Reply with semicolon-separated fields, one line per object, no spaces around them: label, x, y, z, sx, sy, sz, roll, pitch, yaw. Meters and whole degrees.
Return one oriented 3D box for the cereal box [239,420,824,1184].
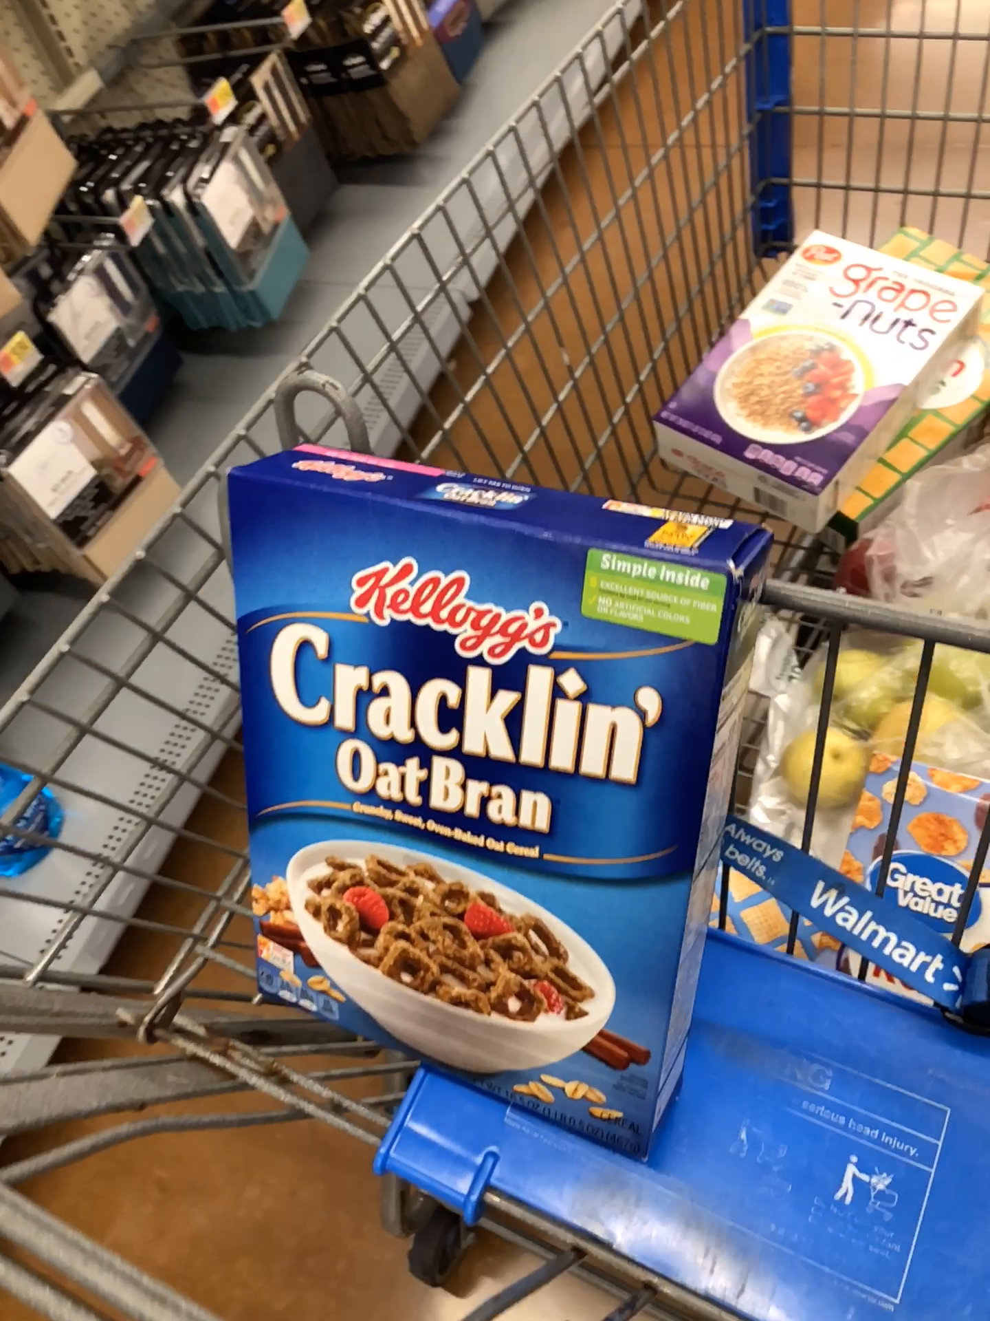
cereal box;0.001;0.054;0.431;0.200;0.260;0.050;15;27;23
